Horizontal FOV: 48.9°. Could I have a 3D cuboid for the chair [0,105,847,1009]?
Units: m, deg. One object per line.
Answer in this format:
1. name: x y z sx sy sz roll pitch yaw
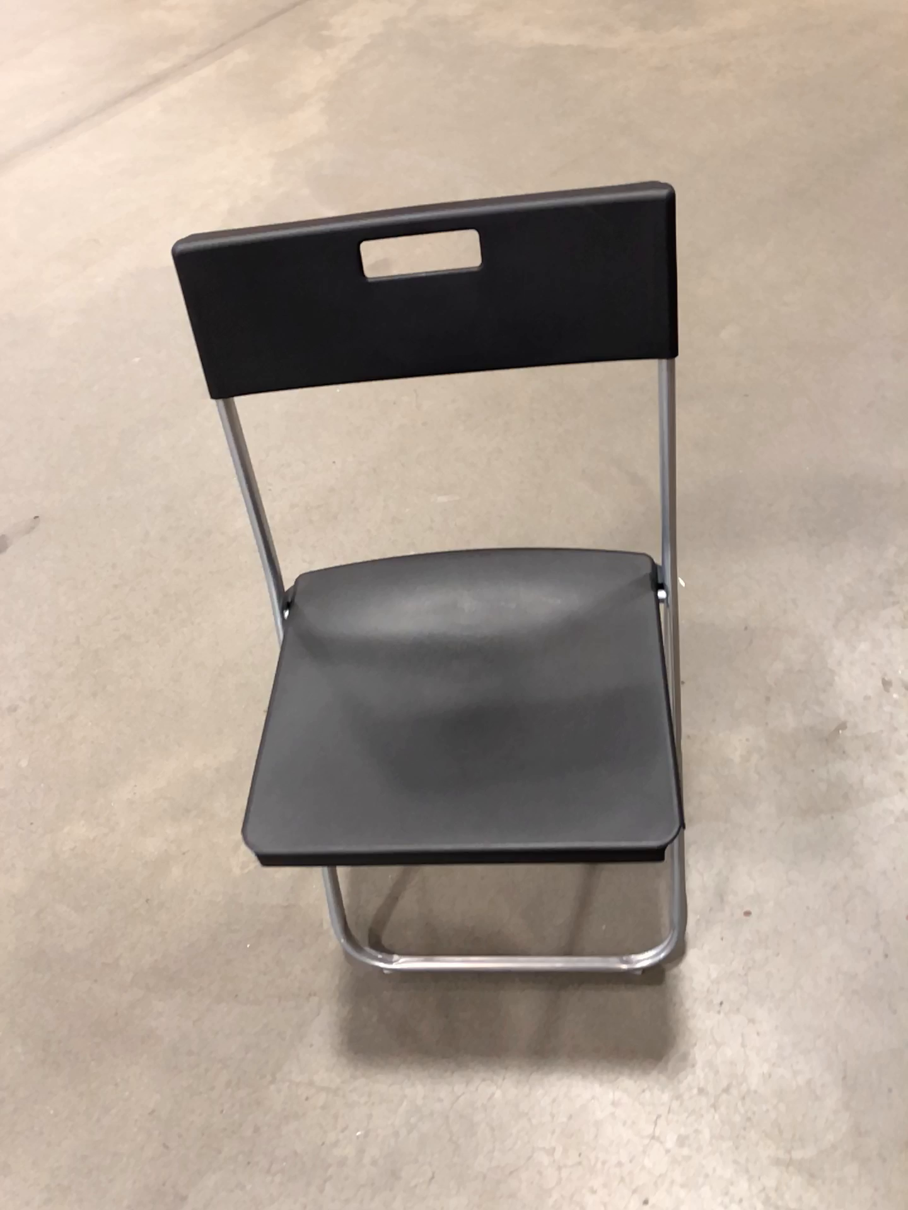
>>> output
1. chair: 0.026 0.041 0.961 0.460 0.758 0.461 -4 53 7
